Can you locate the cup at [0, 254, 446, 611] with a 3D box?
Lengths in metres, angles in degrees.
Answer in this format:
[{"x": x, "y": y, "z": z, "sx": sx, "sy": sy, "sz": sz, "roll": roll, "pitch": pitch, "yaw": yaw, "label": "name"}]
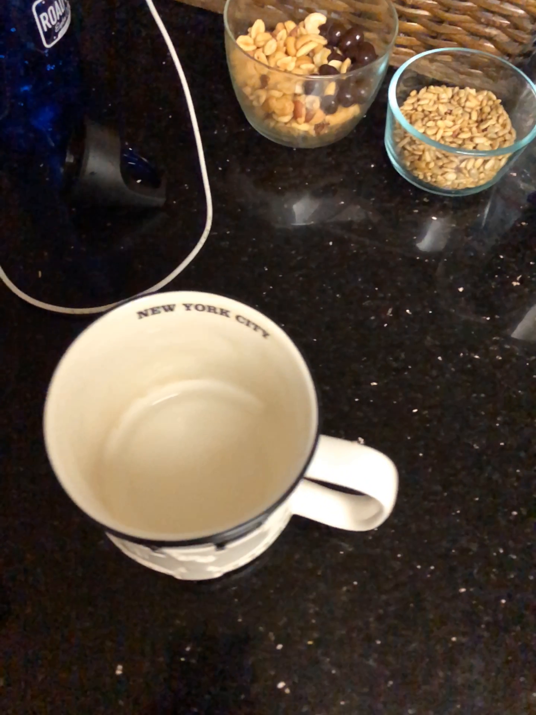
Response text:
[{"x": -0.011, "y": 0.037, "z": 0.264, "sx": 0.150, "sy": 0.090, "sz": 0.110, "roll": 10, "pitch": 63, "yaw": 3, "label": "cup"}]
